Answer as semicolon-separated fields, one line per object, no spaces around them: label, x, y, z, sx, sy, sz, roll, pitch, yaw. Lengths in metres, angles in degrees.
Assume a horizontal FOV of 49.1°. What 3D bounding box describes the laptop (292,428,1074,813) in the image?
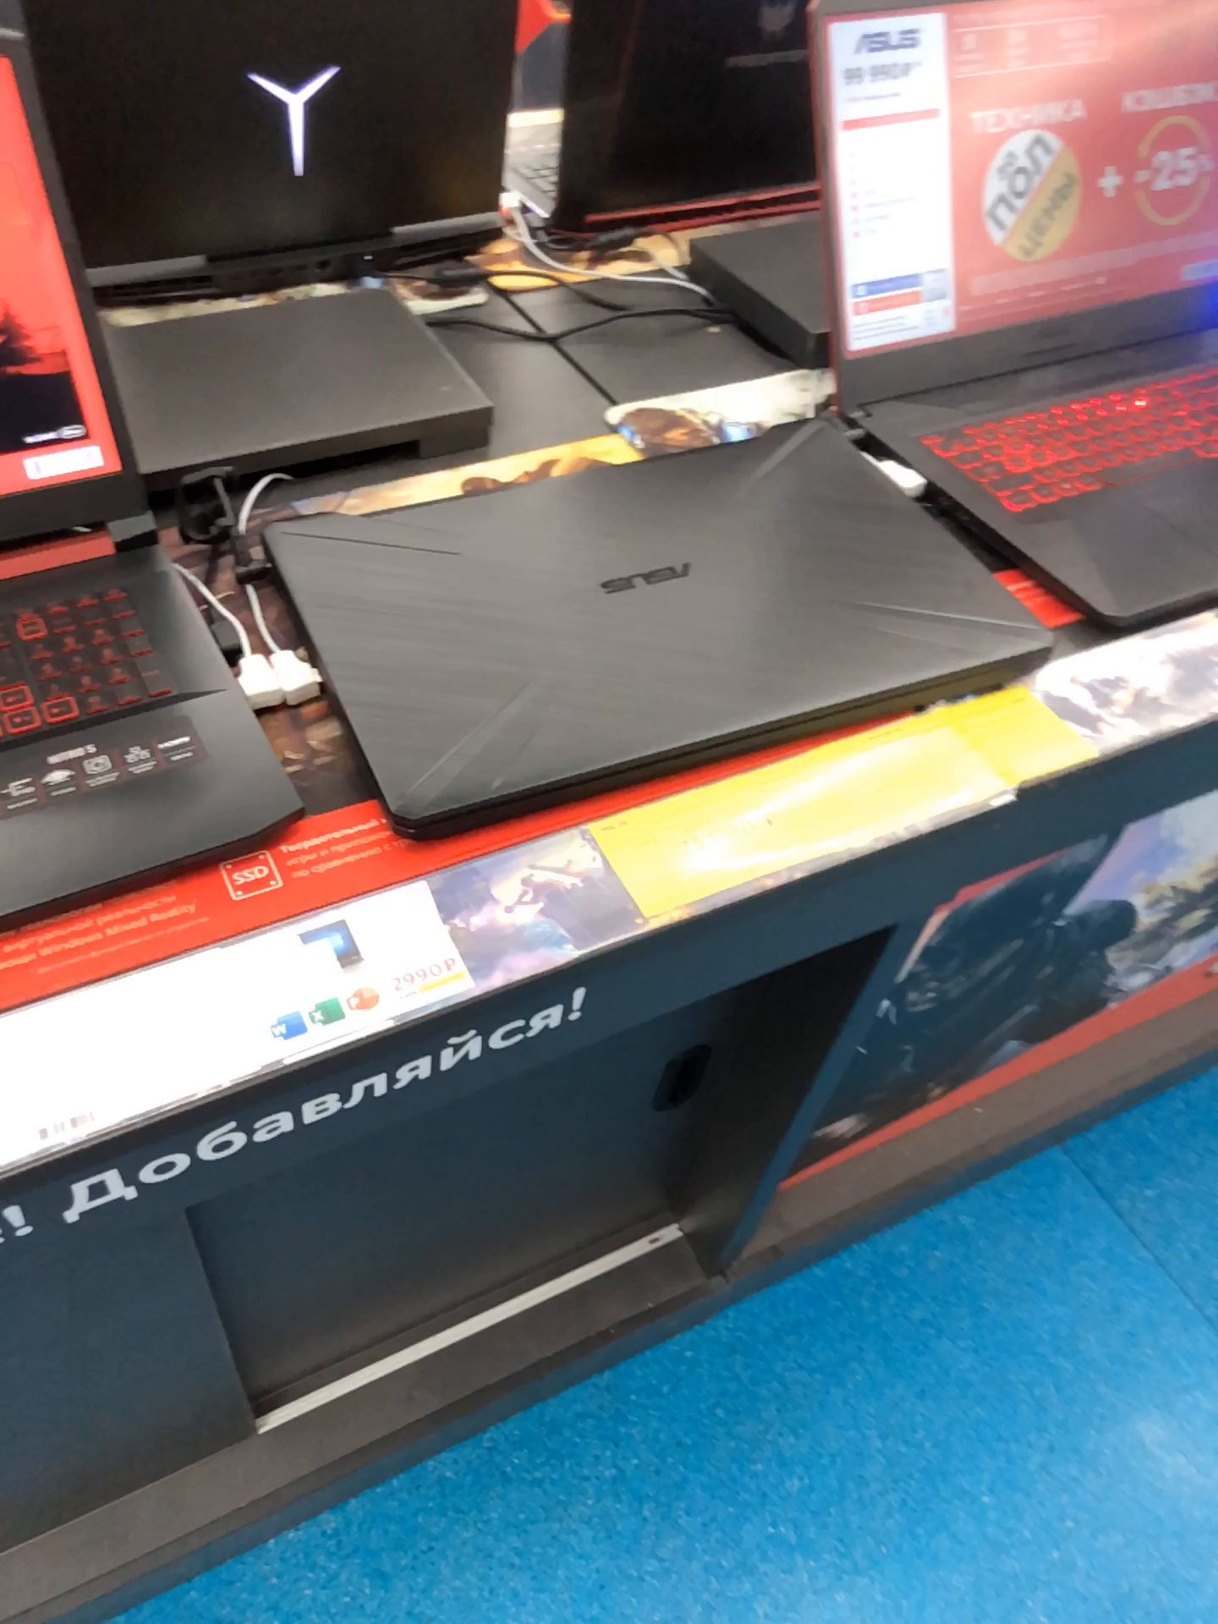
laptop;0.037;-0.135;0.791;0.386;0.001;0.262;-16;47;-18
